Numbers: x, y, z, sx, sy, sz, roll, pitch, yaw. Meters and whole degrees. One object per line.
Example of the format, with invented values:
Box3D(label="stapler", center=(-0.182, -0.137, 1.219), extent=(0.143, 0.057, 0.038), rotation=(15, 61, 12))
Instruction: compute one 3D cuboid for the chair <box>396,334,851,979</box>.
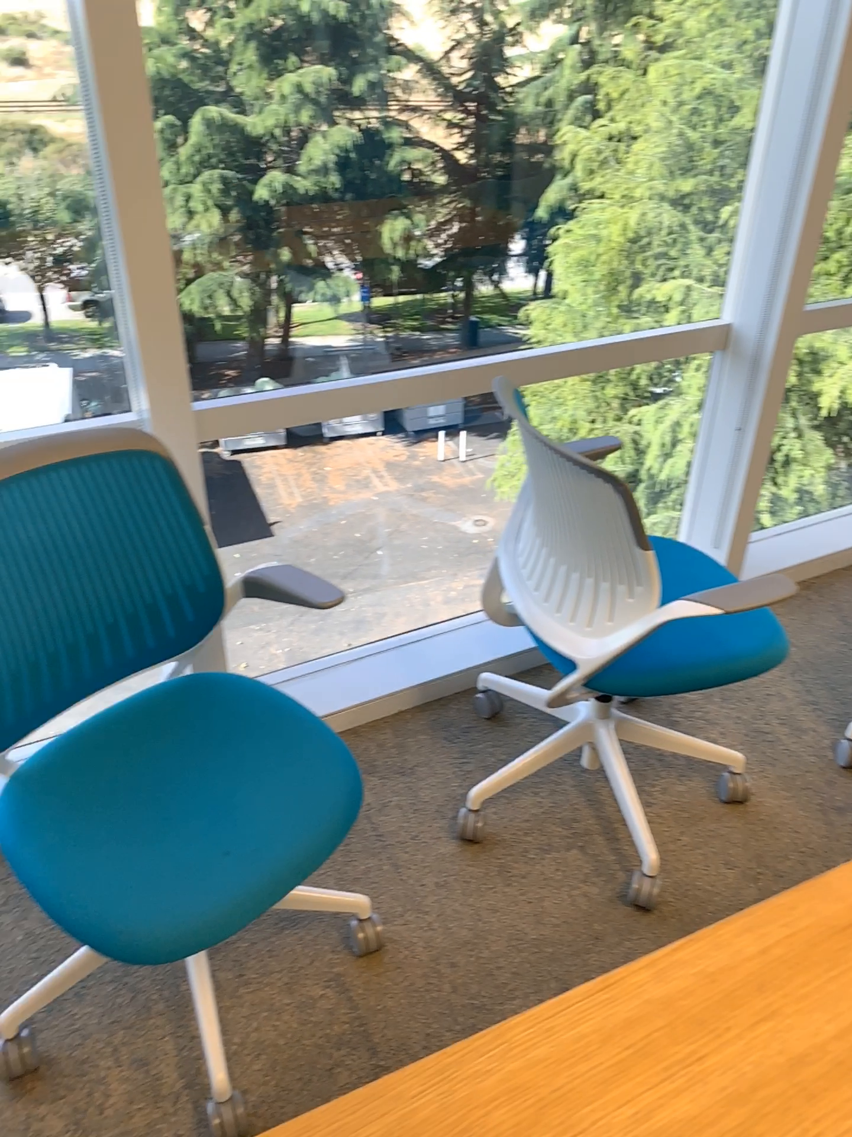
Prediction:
Box3D(label="chair", center=(0.373, 0.146, 1.824), extent=(0.640, 1.014, 0.654), rotation=(-16, 36, -25))

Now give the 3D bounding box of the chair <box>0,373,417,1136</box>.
Box3D(label="chair", center=(-0.583, 0.352, 1.751), extent=(0.731, 1.133, 0.874), rotation=(-24, 40, -33))

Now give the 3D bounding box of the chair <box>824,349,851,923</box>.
Box3D(label="chair", center=(1.499, 0.149, 1.994), extent=(0.630, 1.093, 0.543), rotation=(-10, 34, -17))
